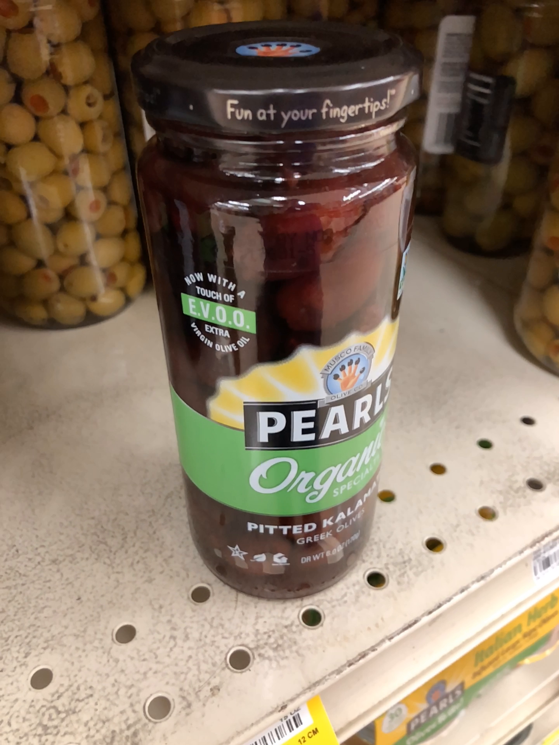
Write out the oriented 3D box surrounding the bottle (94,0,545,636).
[{"bbox_3d":[0.004,-0.009,0.166,0.063,0.150,0.060,0,39,0],"label":"bottle"}]
